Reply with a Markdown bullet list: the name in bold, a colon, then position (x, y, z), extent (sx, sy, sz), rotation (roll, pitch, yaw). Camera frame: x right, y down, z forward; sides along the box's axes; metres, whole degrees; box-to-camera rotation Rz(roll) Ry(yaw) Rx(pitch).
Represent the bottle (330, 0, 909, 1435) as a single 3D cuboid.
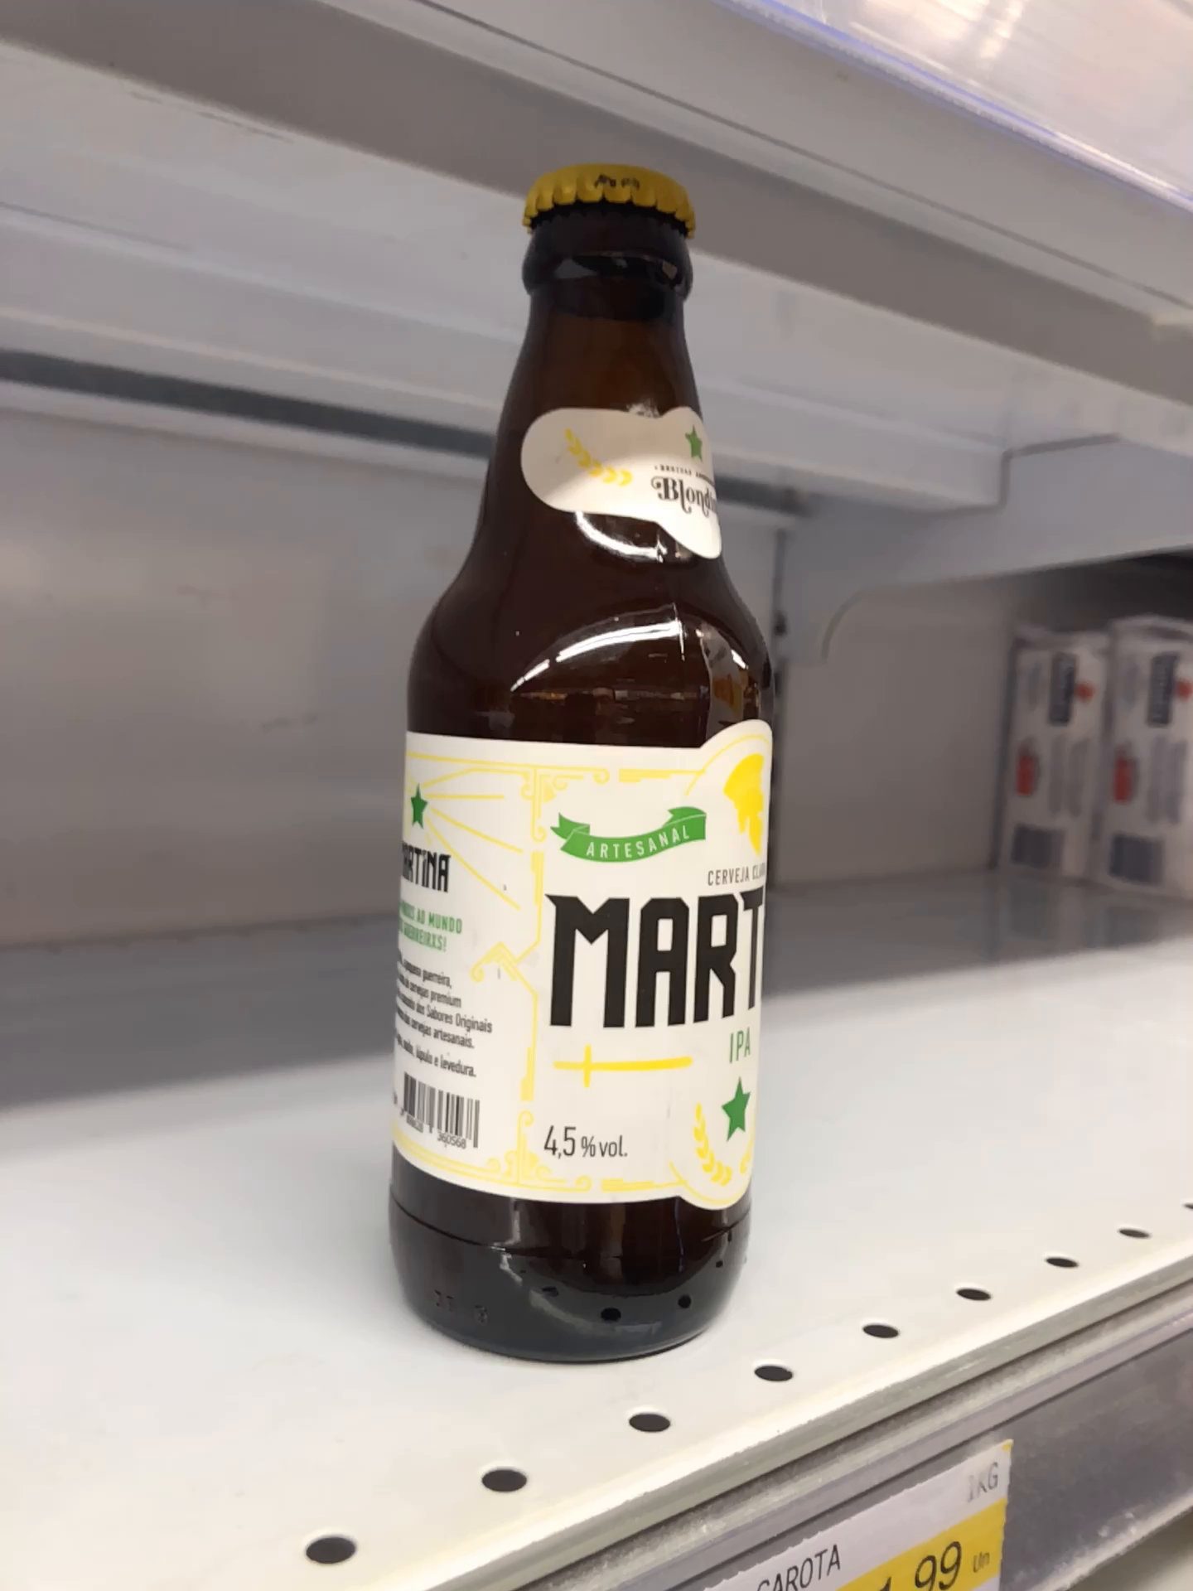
- **bottle**: position (0.006, -0.015, 0.215), extent (0.060, 0.190, 0.070), rotation (4, 4, 28)
